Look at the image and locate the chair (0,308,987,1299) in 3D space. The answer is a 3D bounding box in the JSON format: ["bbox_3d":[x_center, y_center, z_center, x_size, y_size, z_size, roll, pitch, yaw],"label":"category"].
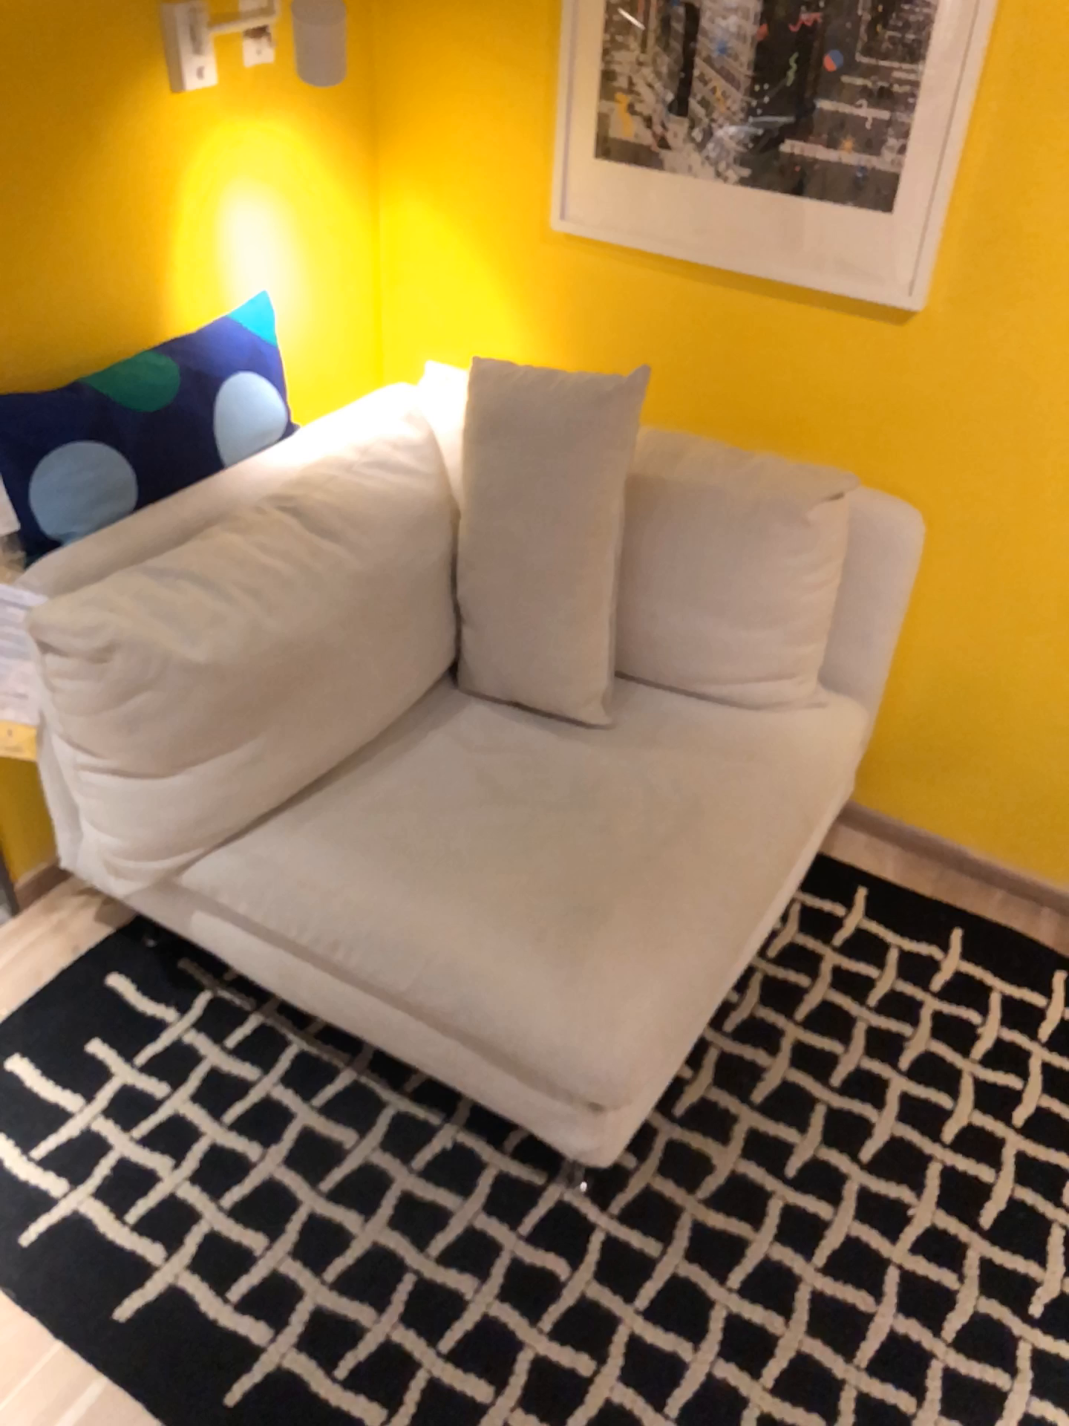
[{"bbox_3d":[-0.039,-0.013,1.862,1.012,0.755,1.116,22,40,24],"label":"chair"}]
